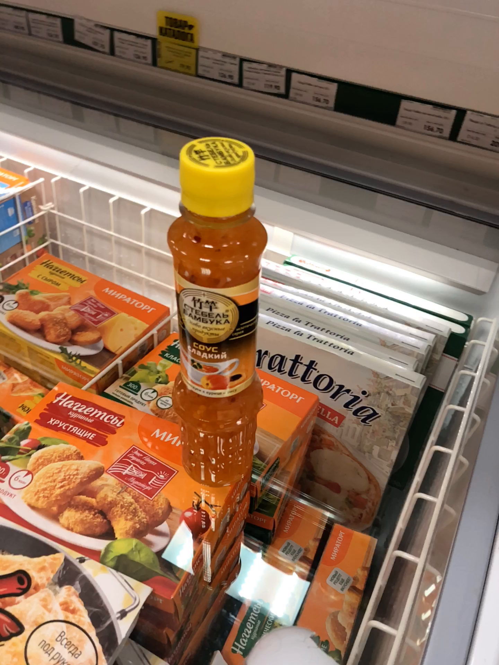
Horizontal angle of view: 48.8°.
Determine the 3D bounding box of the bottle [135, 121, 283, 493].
[{"bbox_3d":[-0.017,0.004,0.280,0.051,0.201,0.049,2,43,-1],"label":"bottle"}]
